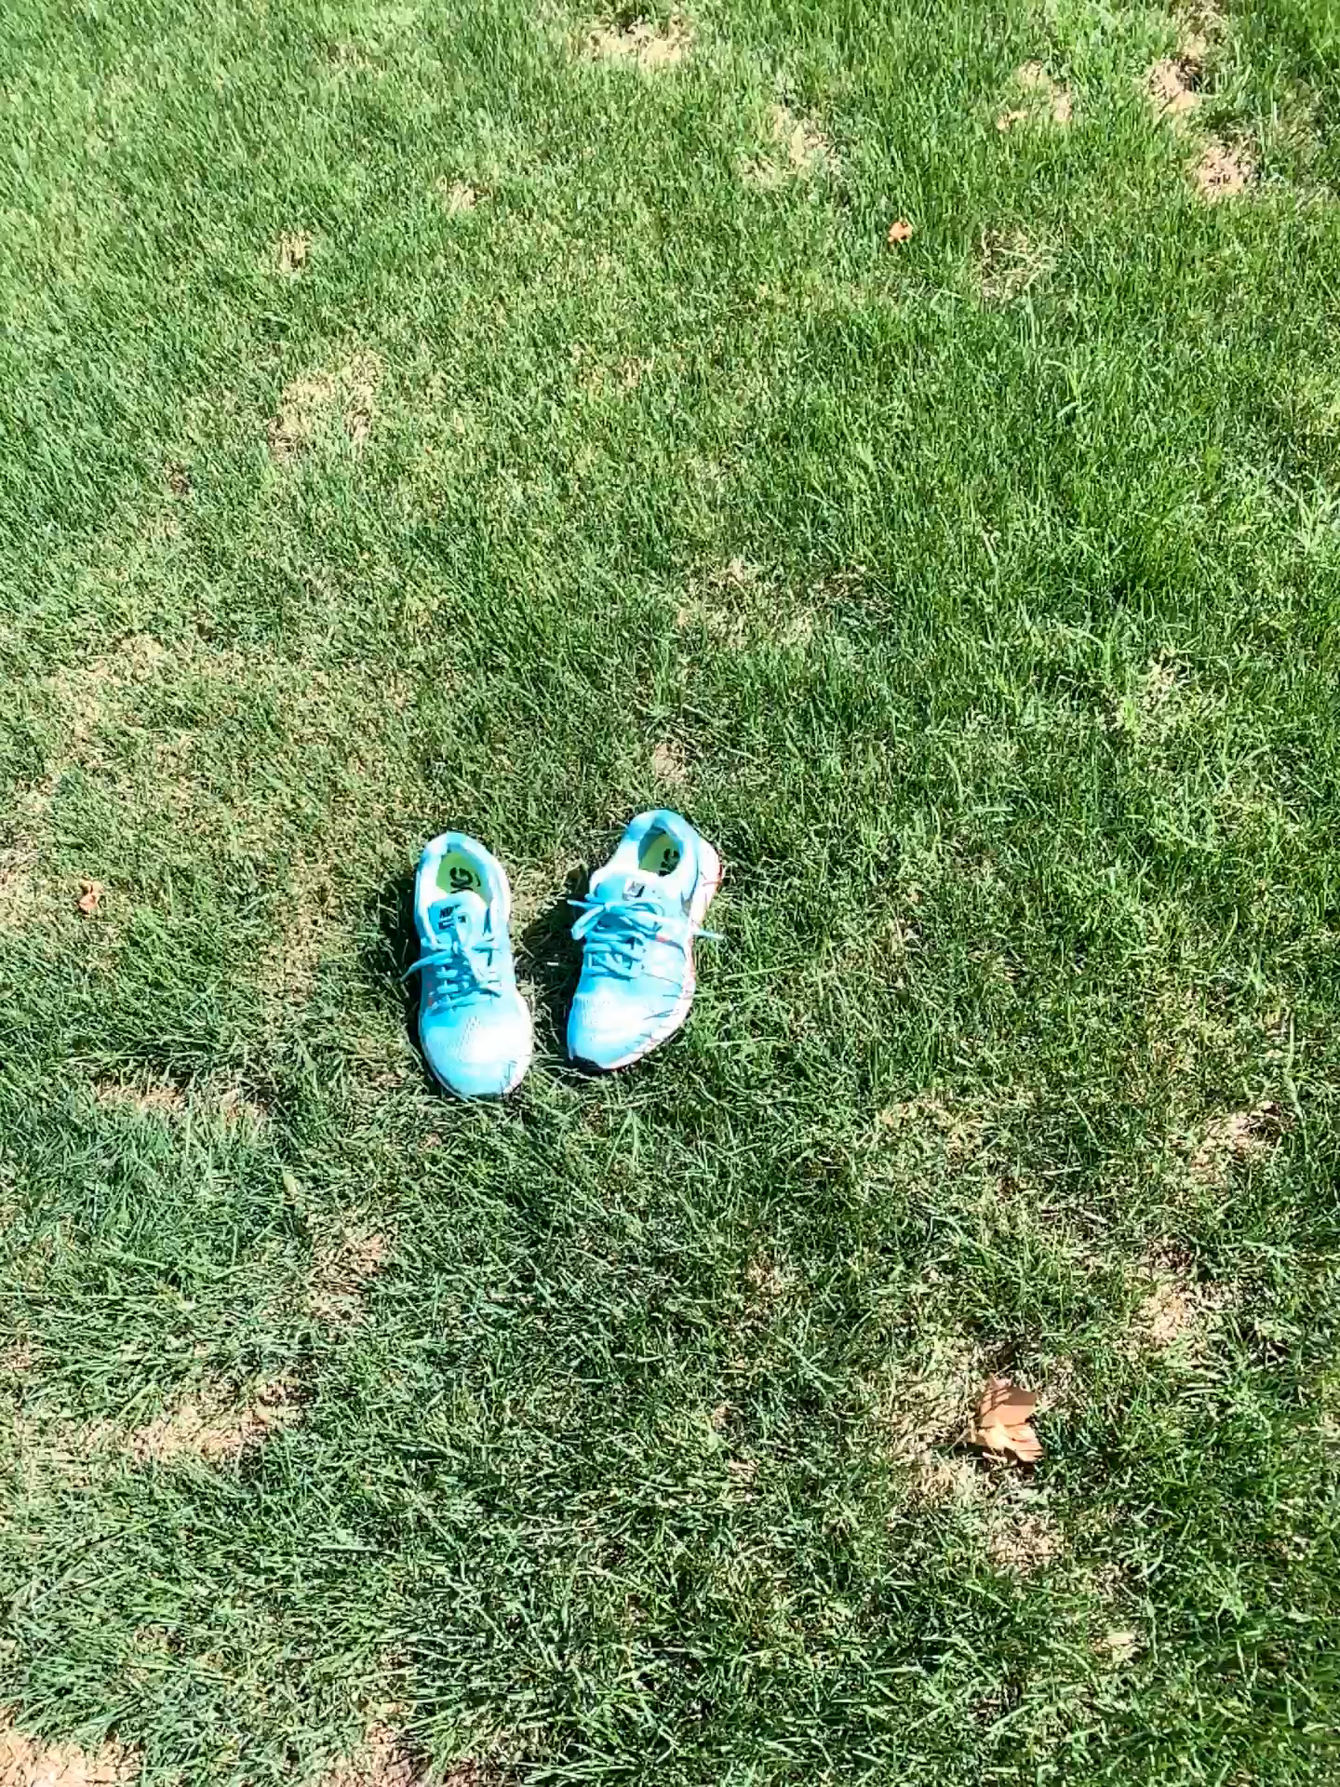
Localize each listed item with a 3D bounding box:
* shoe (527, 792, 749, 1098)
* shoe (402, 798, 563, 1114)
[{"bbox_3d":[-0.022,0.040,1.204,0.120,0.070,0.250,10,60,15],"label":"shoe"},{"bbox_3d":[-0.170,0.053,1.231,0.120,0.090,0.261,-7,58,1],"label":"shoe"}]
